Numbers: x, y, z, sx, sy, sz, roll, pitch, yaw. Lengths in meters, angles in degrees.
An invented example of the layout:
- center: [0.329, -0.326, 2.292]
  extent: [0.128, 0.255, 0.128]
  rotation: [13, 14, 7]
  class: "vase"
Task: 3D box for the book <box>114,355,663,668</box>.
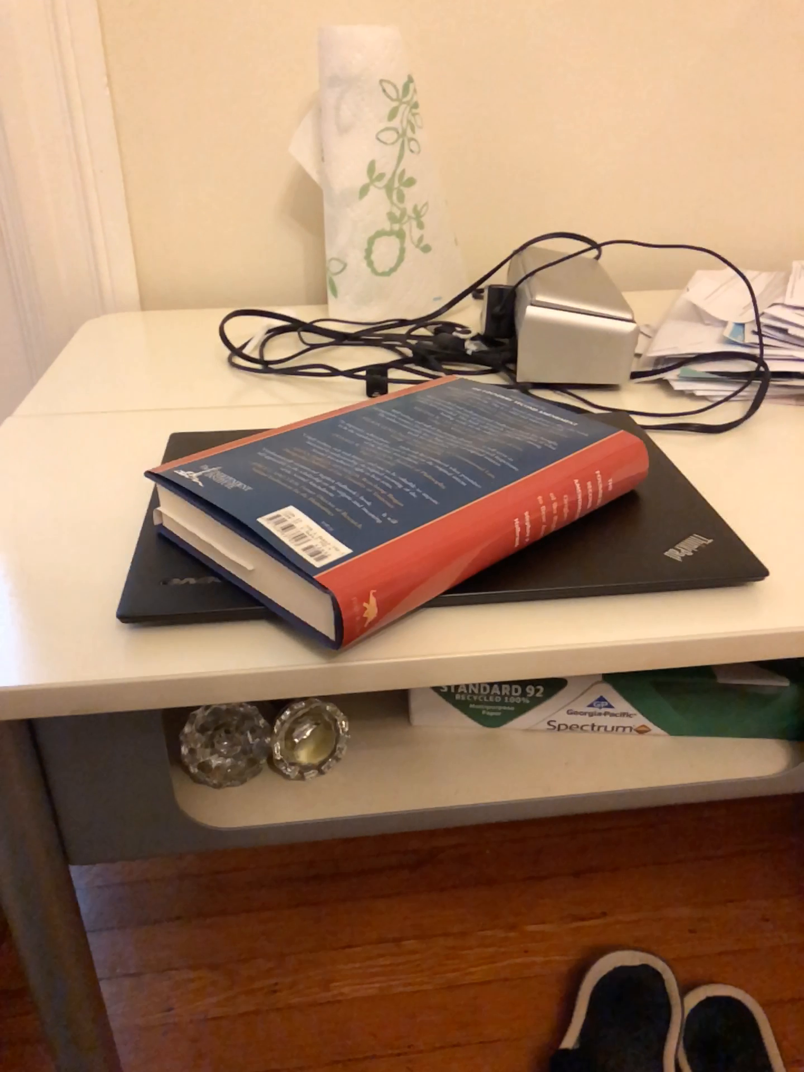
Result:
- center: [-0.001, -0.034, 0.478]
  extent: [0.241, 0.040, 0.170]
  rotation: [-26, 36, -36]
  class: "book"
